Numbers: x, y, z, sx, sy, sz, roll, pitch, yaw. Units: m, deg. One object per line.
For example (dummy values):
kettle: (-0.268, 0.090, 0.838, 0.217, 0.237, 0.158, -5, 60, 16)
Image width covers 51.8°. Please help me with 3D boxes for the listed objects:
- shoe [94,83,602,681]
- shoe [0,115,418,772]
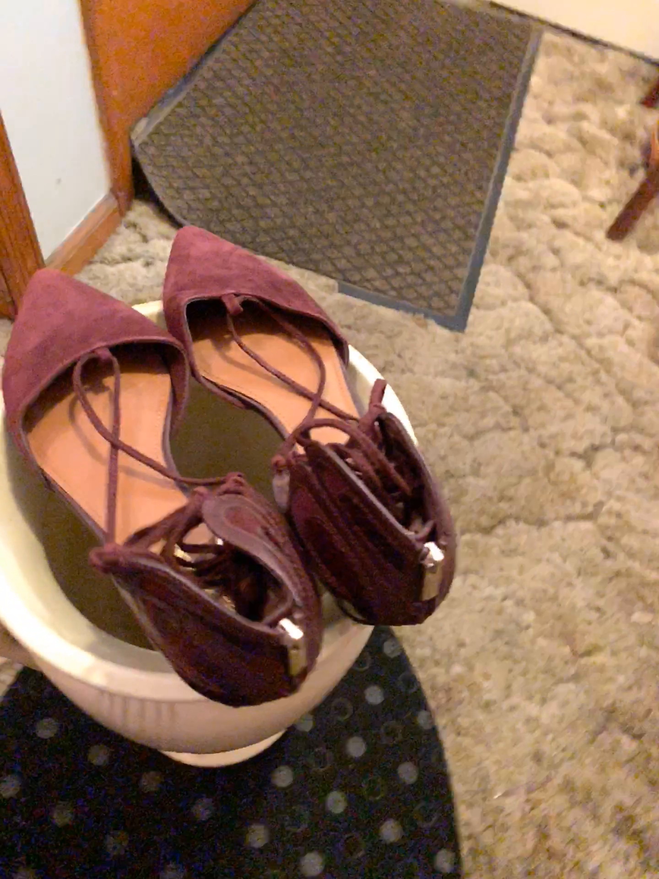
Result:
shoe: (-0.012, -0.039, 0.321, 0.093, 0.099, 0.261, -23, 65, -21)
shoe: (-0.086, -0.010, 0.295, 0.093, 0.099, 0.261, -26, 66, -23)
